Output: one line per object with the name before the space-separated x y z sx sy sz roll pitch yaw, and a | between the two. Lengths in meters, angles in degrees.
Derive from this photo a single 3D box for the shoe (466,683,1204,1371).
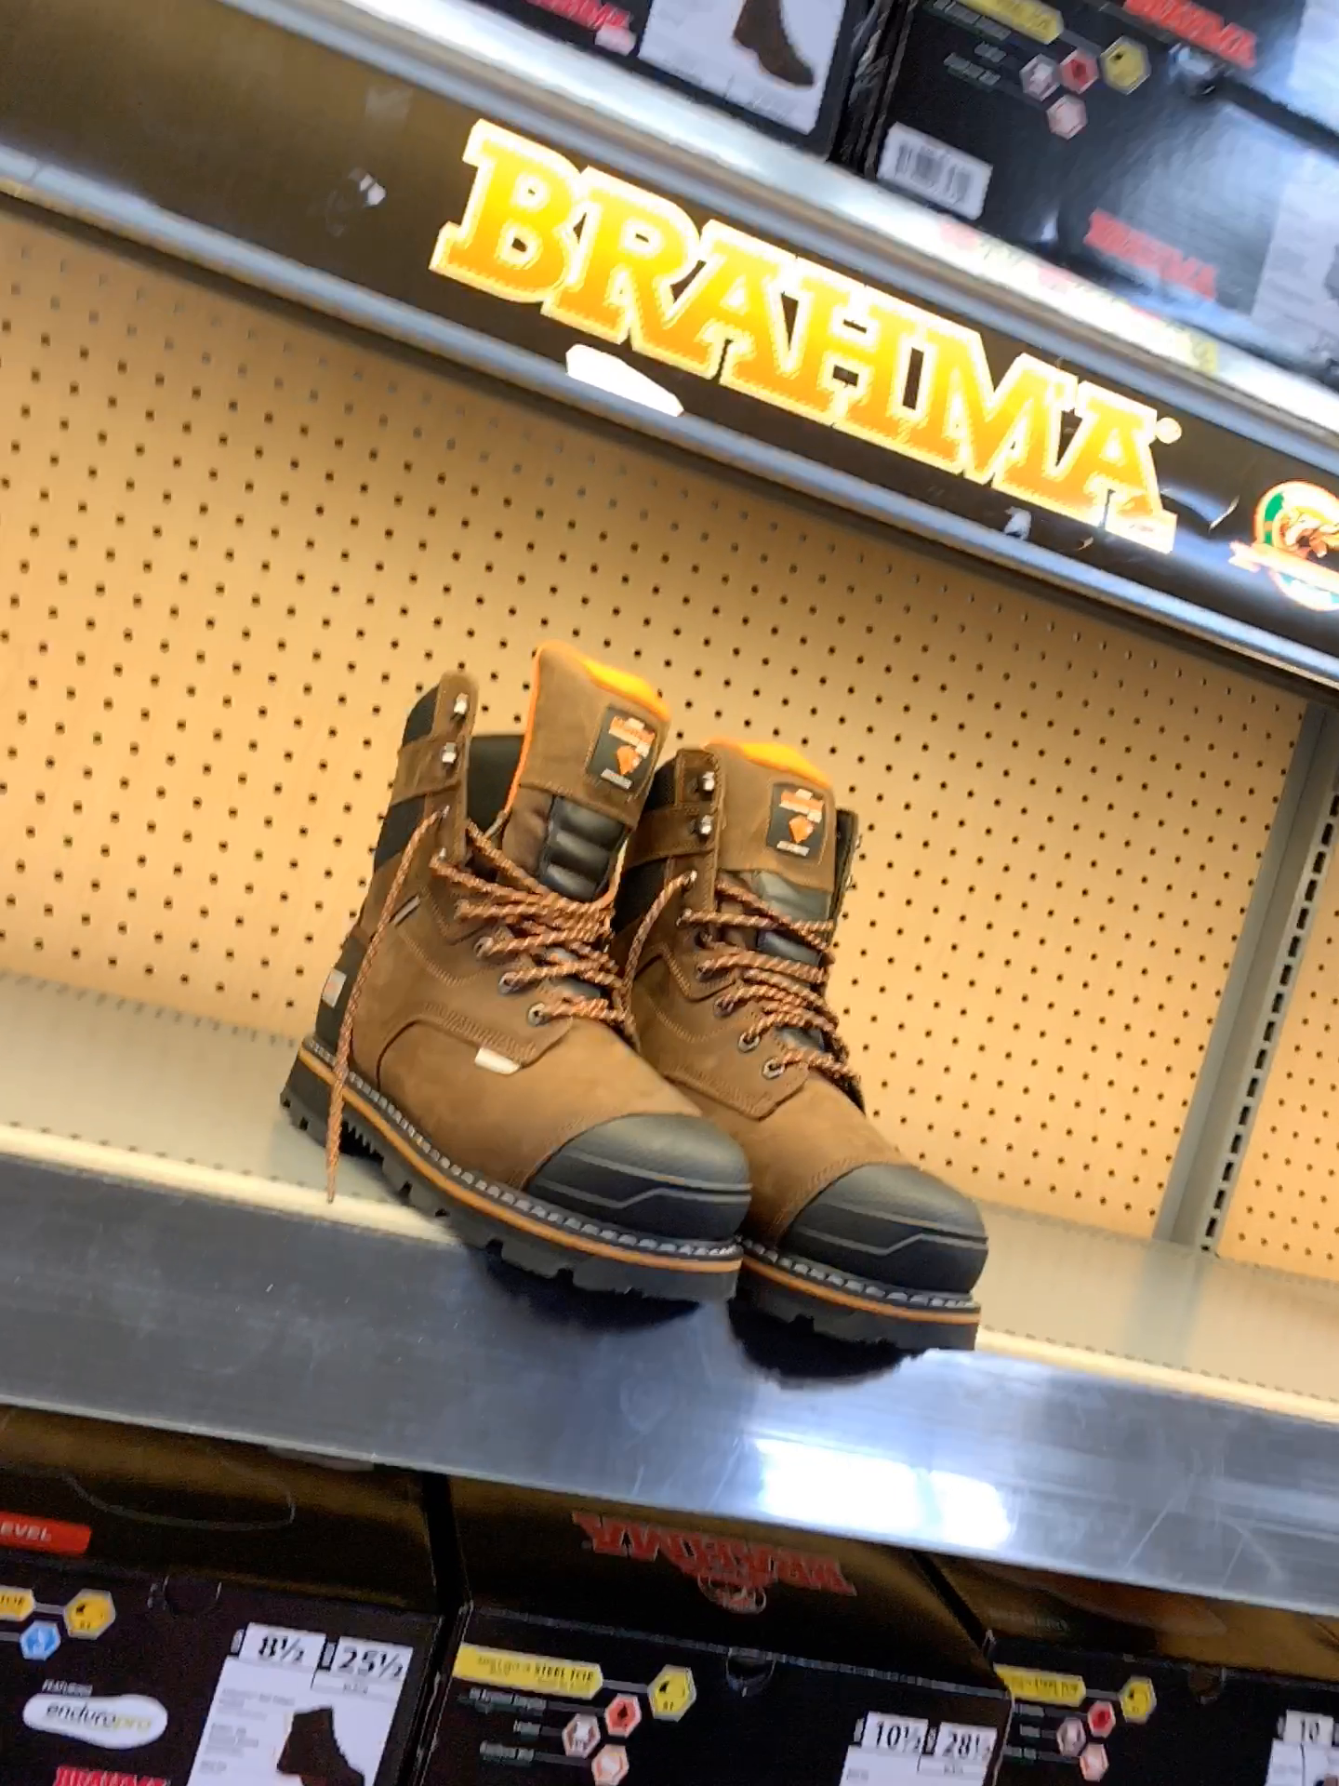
shoe | 0.066 0.050 0.722 0.134 0.260 0.318 15 2 -41

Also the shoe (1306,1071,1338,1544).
shoe | 0.590 0.249 0.889 0.146 0.180 0.273 16 2 -14

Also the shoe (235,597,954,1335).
shoe | -0.059 0.016 0.685 0.136 0.280 0.313 15 2 -39
